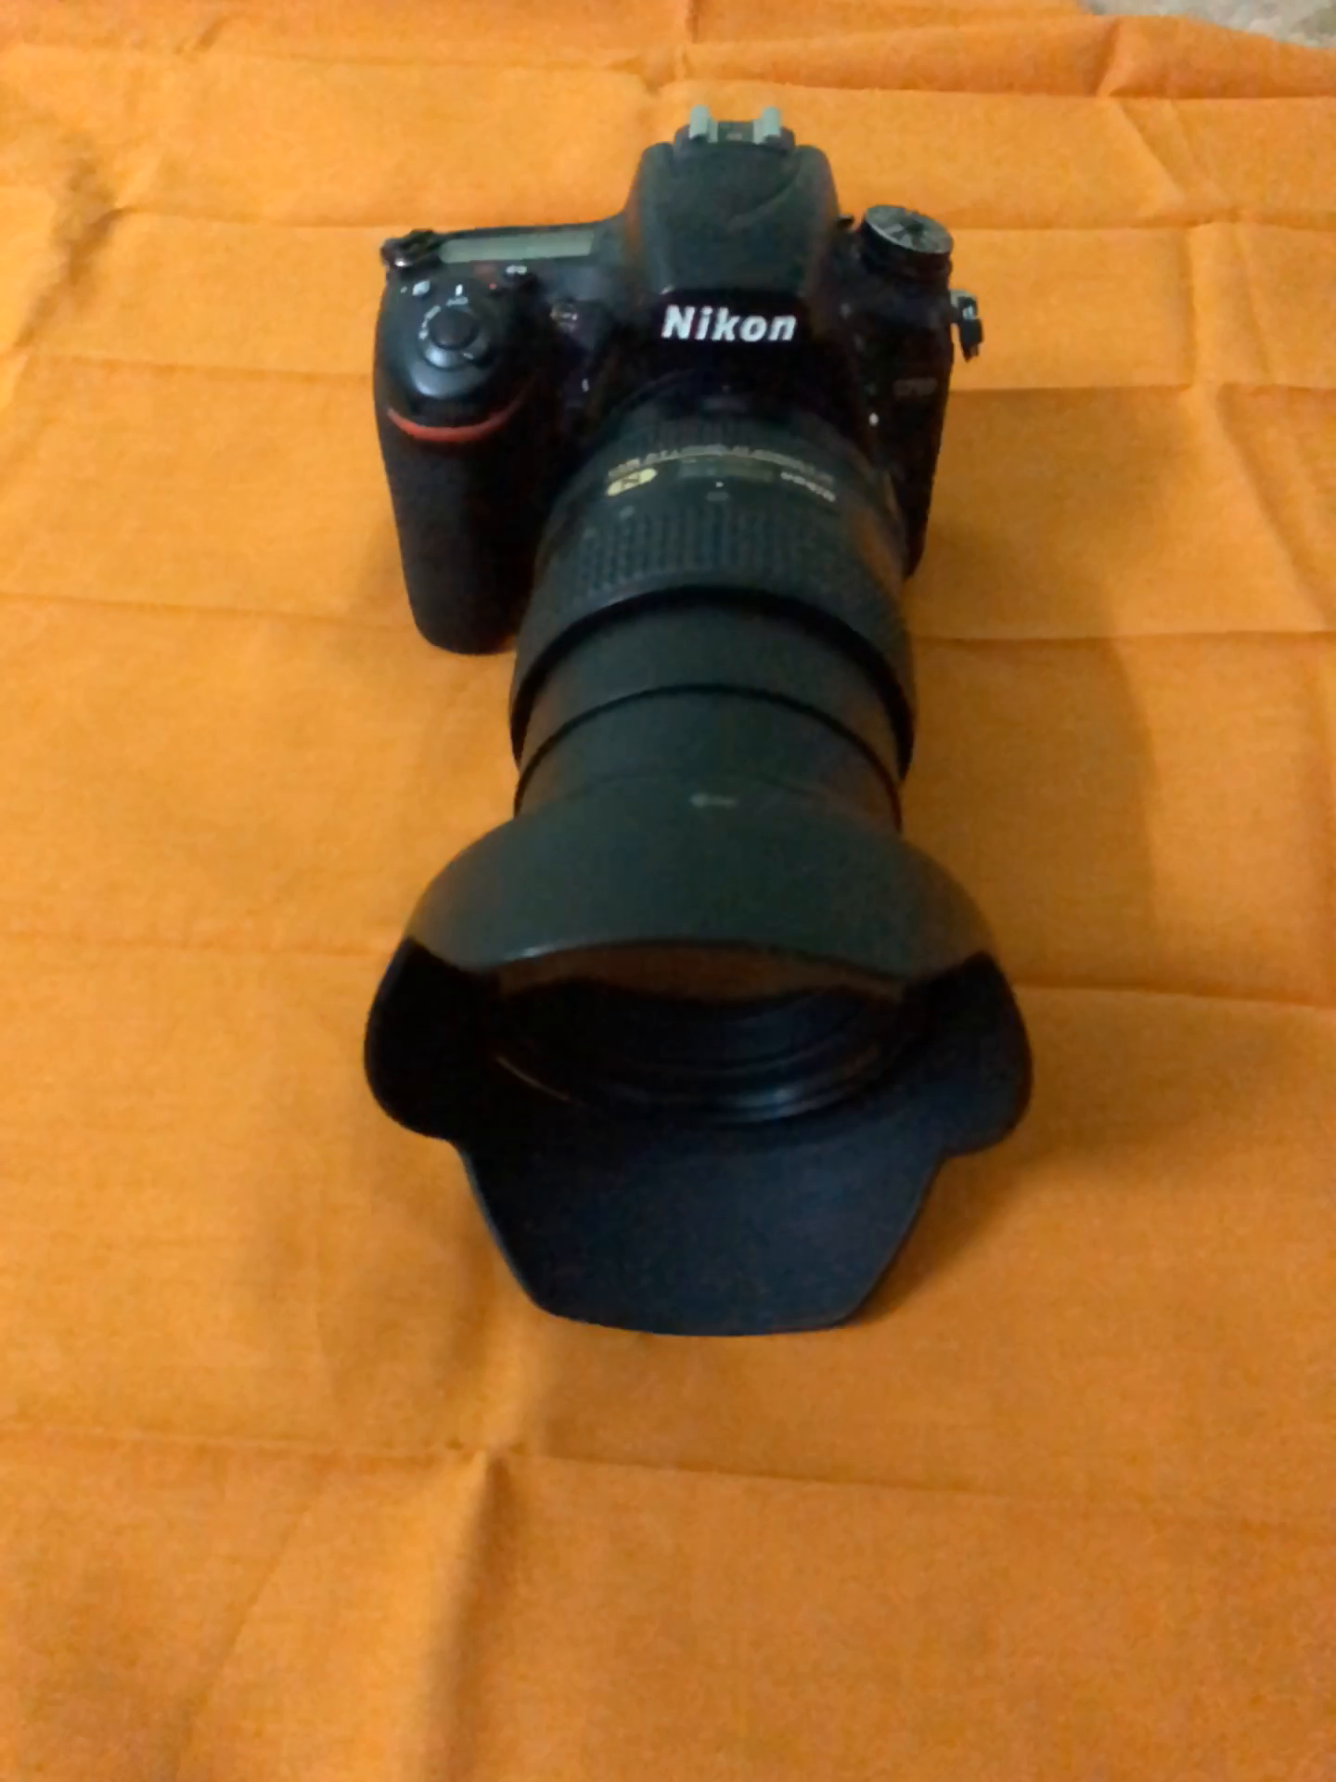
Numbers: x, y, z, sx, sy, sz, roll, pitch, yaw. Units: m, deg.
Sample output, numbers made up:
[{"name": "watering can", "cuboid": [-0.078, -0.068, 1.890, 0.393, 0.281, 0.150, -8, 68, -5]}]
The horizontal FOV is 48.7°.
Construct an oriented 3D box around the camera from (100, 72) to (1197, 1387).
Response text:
[{"name": "camera", "cuboid": [0.000, -0.051, 0.306, 0.130, 0.120, 0.265, 1, 50, 1]}]
